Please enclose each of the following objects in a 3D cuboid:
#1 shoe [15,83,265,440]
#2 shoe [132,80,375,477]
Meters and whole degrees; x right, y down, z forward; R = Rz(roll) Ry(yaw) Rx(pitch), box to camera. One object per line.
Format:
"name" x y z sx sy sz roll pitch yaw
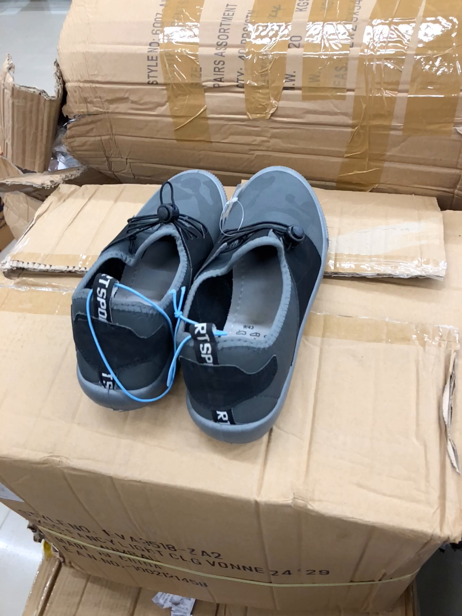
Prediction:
"shoe" -0.049 -0.059 0.464 0.110 0.149 0.302 4 50 11
"shoe" 0.042 -0.046 0.407 0.110 0.129 0.302 7 51 13
